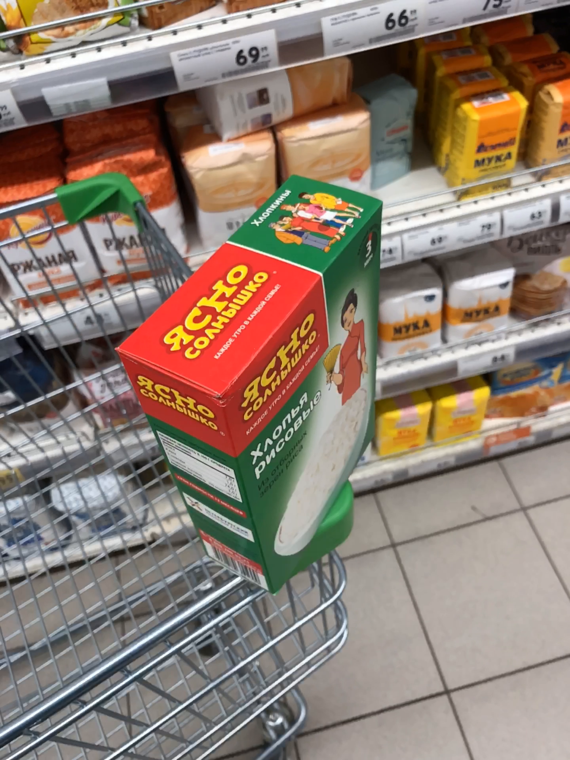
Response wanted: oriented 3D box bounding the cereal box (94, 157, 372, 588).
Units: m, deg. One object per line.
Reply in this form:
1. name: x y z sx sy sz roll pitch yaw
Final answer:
1. cereal box: -0.008 0.006 0.346 0.050 0.189 0.140 23 57 23
